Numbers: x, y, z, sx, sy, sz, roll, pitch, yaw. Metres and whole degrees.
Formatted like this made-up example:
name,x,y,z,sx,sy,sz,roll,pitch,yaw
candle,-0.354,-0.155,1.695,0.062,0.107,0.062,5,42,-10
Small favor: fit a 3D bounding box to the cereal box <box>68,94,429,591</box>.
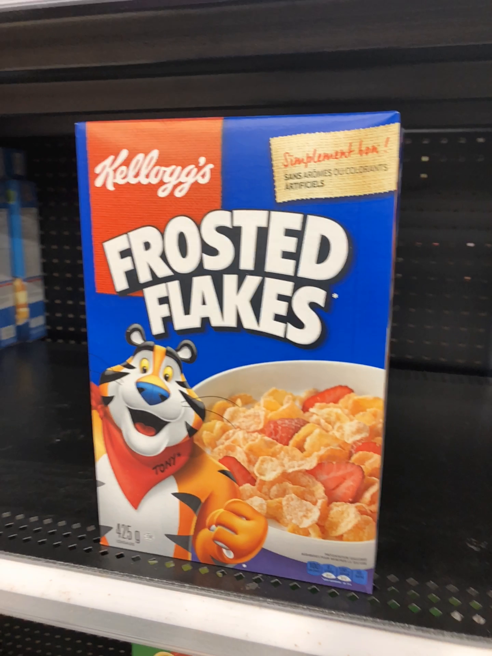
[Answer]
name,x,y,z,sx,sy,sz,roll,pitch,yaw
cereal box,-0.001,0.008,0.364,0.210,0.289,0.060,4,12,15
